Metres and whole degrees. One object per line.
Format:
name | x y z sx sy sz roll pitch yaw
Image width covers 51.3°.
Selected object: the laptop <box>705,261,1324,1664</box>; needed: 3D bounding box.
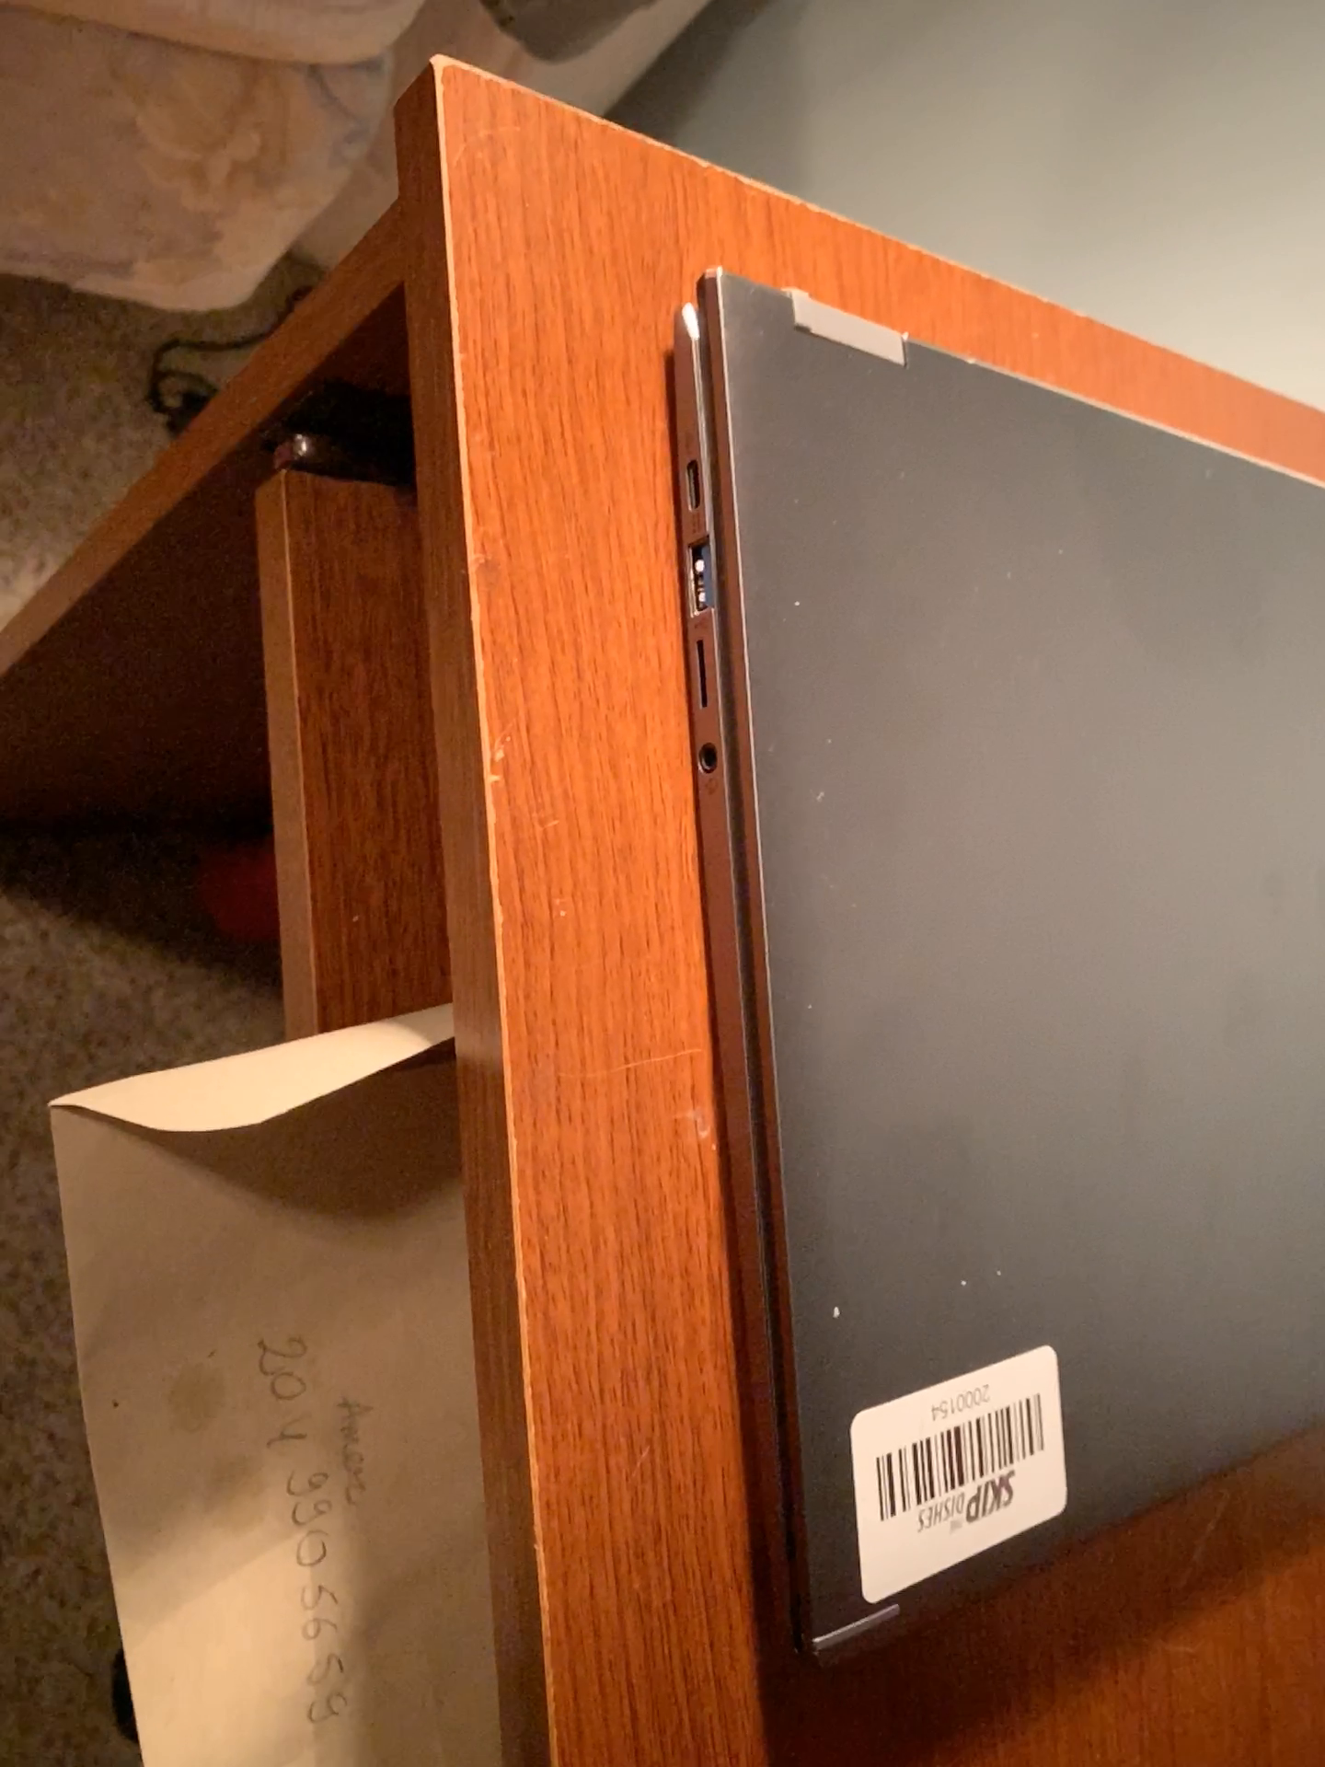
laptop | 0.133 0.009 0.323 0.301 0.002 0.232 0 84 -39
